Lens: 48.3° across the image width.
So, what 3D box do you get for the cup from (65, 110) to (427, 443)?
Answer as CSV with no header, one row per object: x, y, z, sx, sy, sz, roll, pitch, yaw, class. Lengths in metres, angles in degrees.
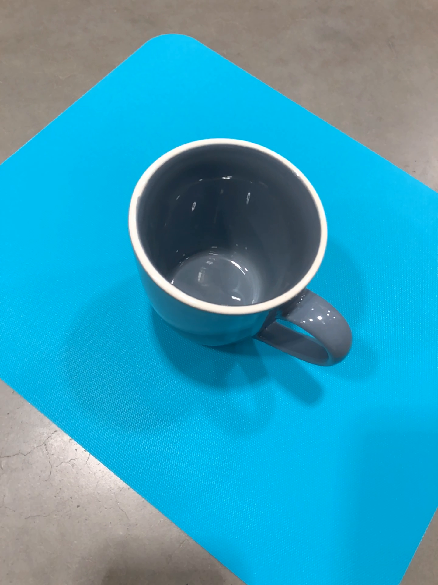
0.011,-0.004,0.248,0.130,0.080,0.090,33,68,8,cup
